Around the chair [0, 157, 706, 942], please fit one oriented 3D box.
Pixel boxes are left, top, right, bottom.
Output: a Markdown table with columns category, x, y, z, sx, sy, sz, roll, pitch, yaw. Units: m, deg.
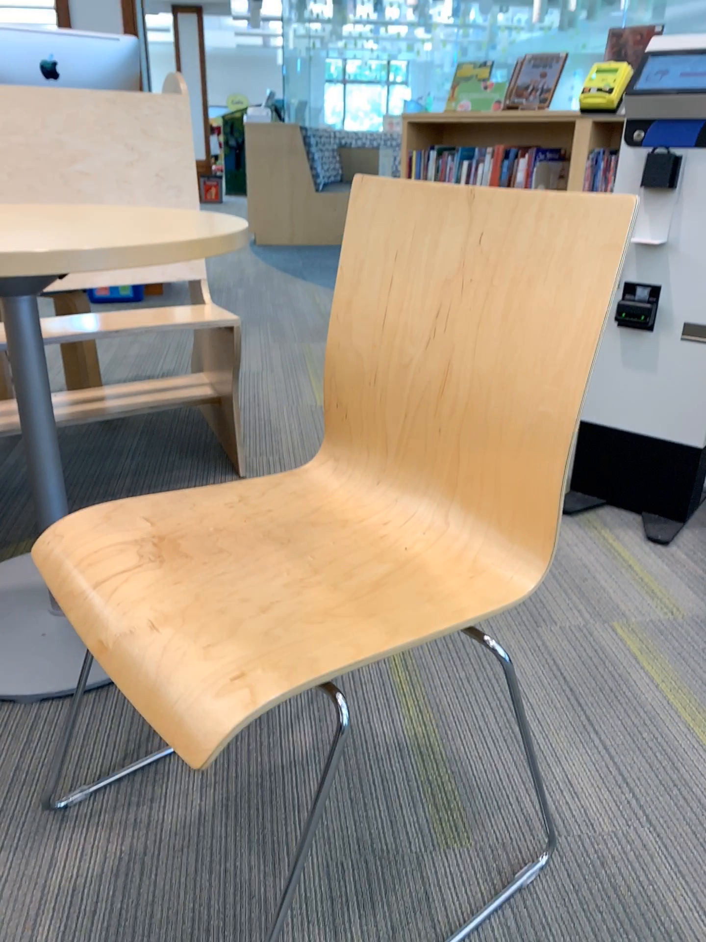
| category | x | y | z | sx | sy | sz | roll | pitch | yaw |
| --- | --- | --- | --- | --- | --- | --- | --- | --- | --- |
| chair | -0.046 | 0.086 | 0.836 | 0.621 | 0.807 | 0.562 | -18 | 30 | -37 |
